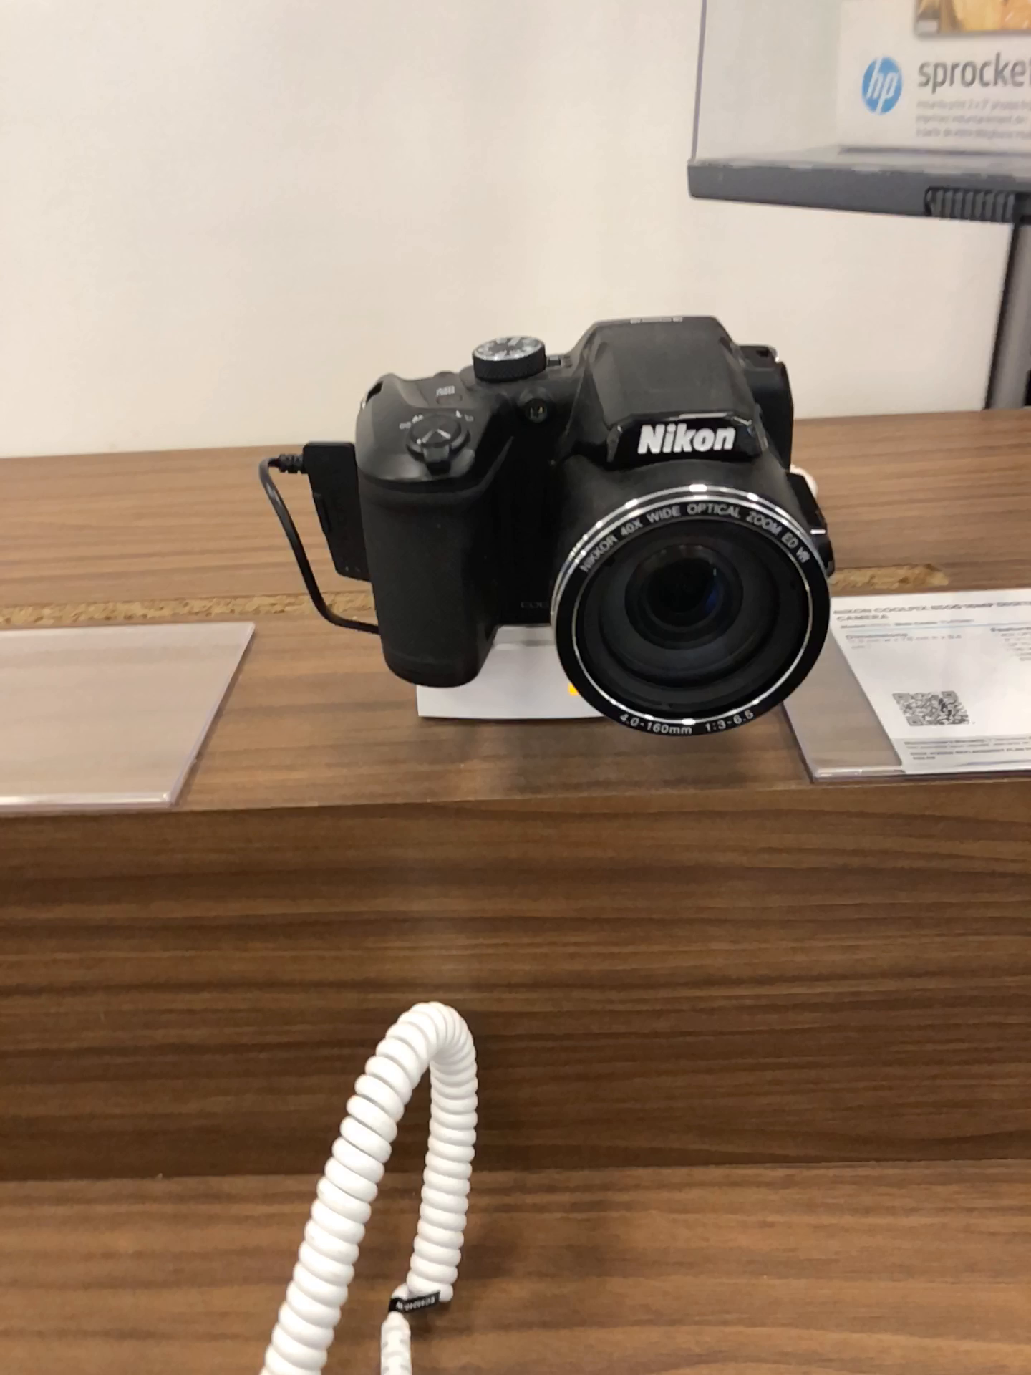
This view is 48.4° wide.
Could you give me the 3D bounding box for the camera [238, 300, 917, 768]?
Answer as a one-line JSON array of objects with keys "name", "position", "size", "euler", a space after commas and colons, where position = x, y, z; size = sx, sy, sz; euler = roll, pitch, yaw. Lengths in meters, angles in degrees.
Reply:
[{"name": "camera", "position": [0.013, -0.047, 0.293], "size": [0.130, 0.070, 0.131], "euler": [-3, 29, 1]}]
